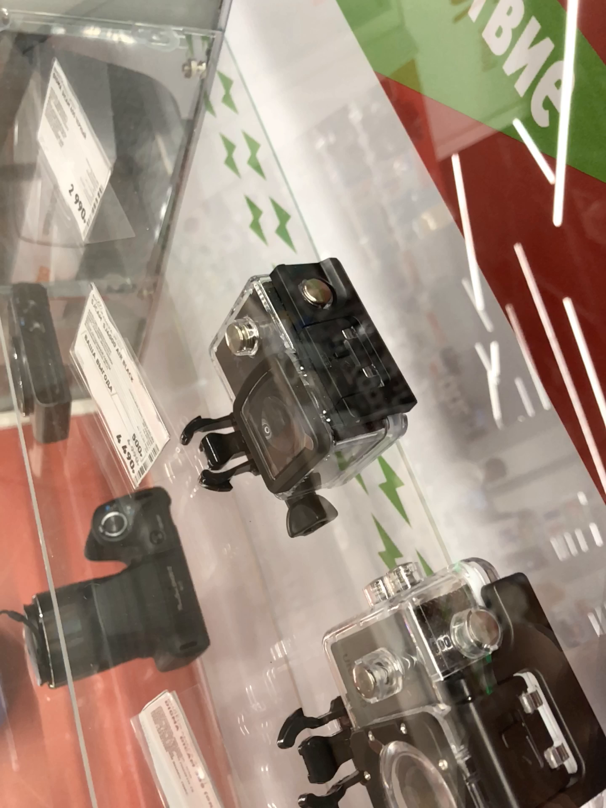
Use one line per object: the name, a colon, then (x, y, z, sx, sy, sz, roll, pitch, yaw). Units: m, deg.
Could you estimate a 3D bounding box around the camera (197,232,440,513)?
camera: (0.001, -0.011, 0.232, 0.033, 0.055, 0.074, -14, 67, -36)
